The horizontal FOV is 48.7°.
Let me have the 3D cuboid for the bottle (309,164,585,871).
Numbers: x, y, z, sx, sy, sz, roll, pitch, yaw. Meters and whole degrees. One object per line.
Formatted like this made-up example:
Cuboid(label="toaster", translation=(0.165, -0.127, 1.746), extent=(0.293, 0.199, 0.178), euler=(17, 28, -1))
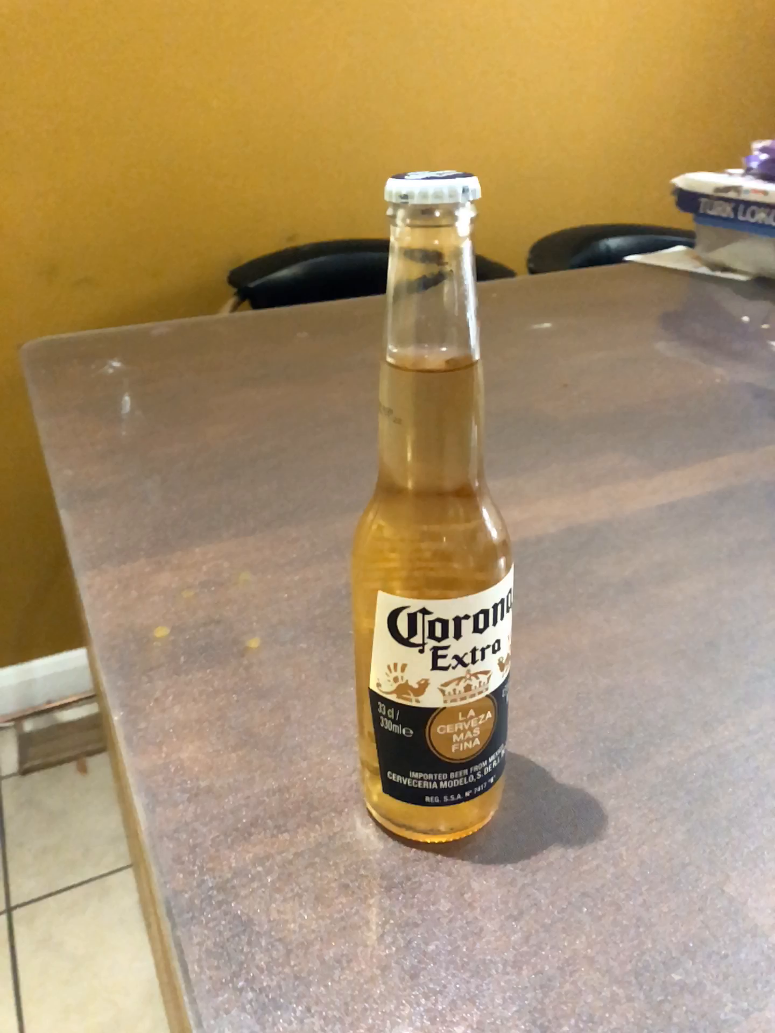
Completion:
Cuboid(label="bottle", translation=(0.017, 0.008, 0.302), extent=(0.060, 0.238, 0.060), euler=(-1, 27, 0))
